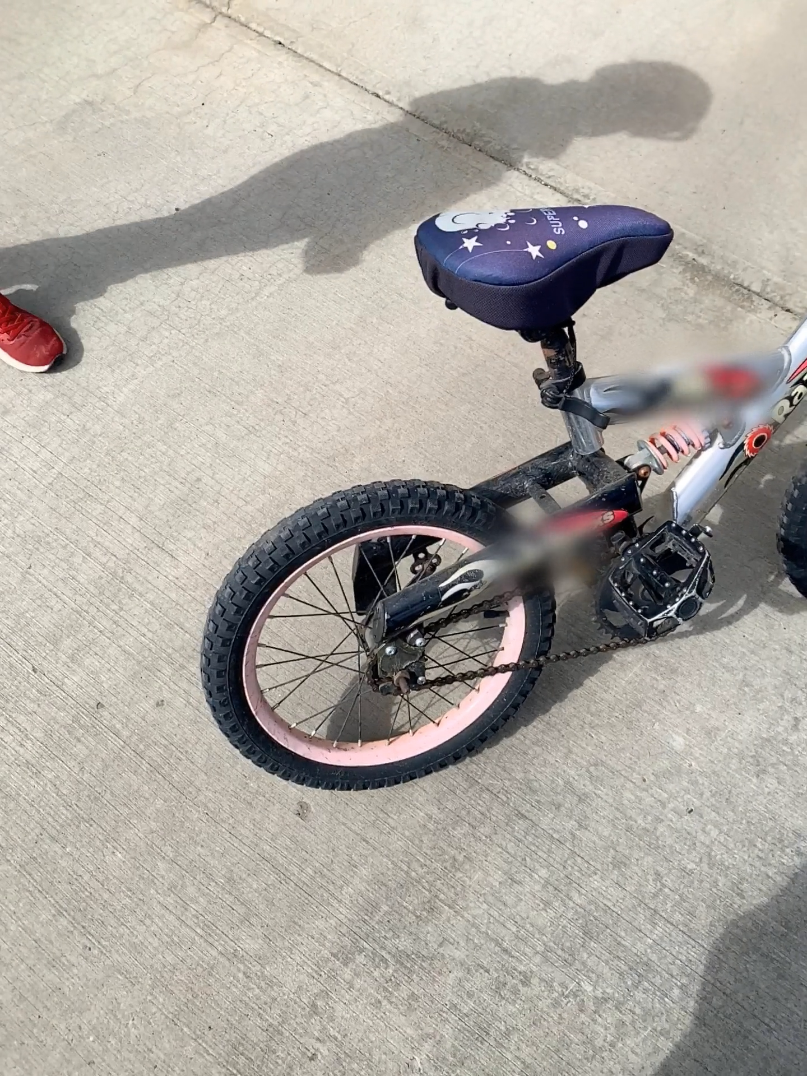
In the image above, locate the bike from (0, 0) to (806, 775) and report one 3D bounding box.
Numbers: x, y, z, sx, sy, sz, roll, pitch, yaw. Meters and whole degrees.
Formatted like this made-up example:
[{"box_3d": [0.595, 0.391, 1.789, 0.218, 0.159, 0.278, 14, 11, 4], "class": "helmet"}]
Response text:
[{"box_3d": [0.311, -0.197, 0.846, 1.123, 0.692, 0.359, -14, 60, -15], "class": "bike"}]
